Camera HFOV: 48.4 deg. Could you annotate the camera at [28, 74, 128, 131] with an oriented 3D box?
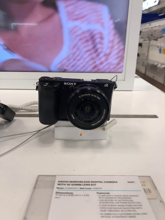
[{"bbox_3d":[-0.007,-0.014,0.280,0.130,0.070,0.060,1,20,-1],"label":"camera"}]
